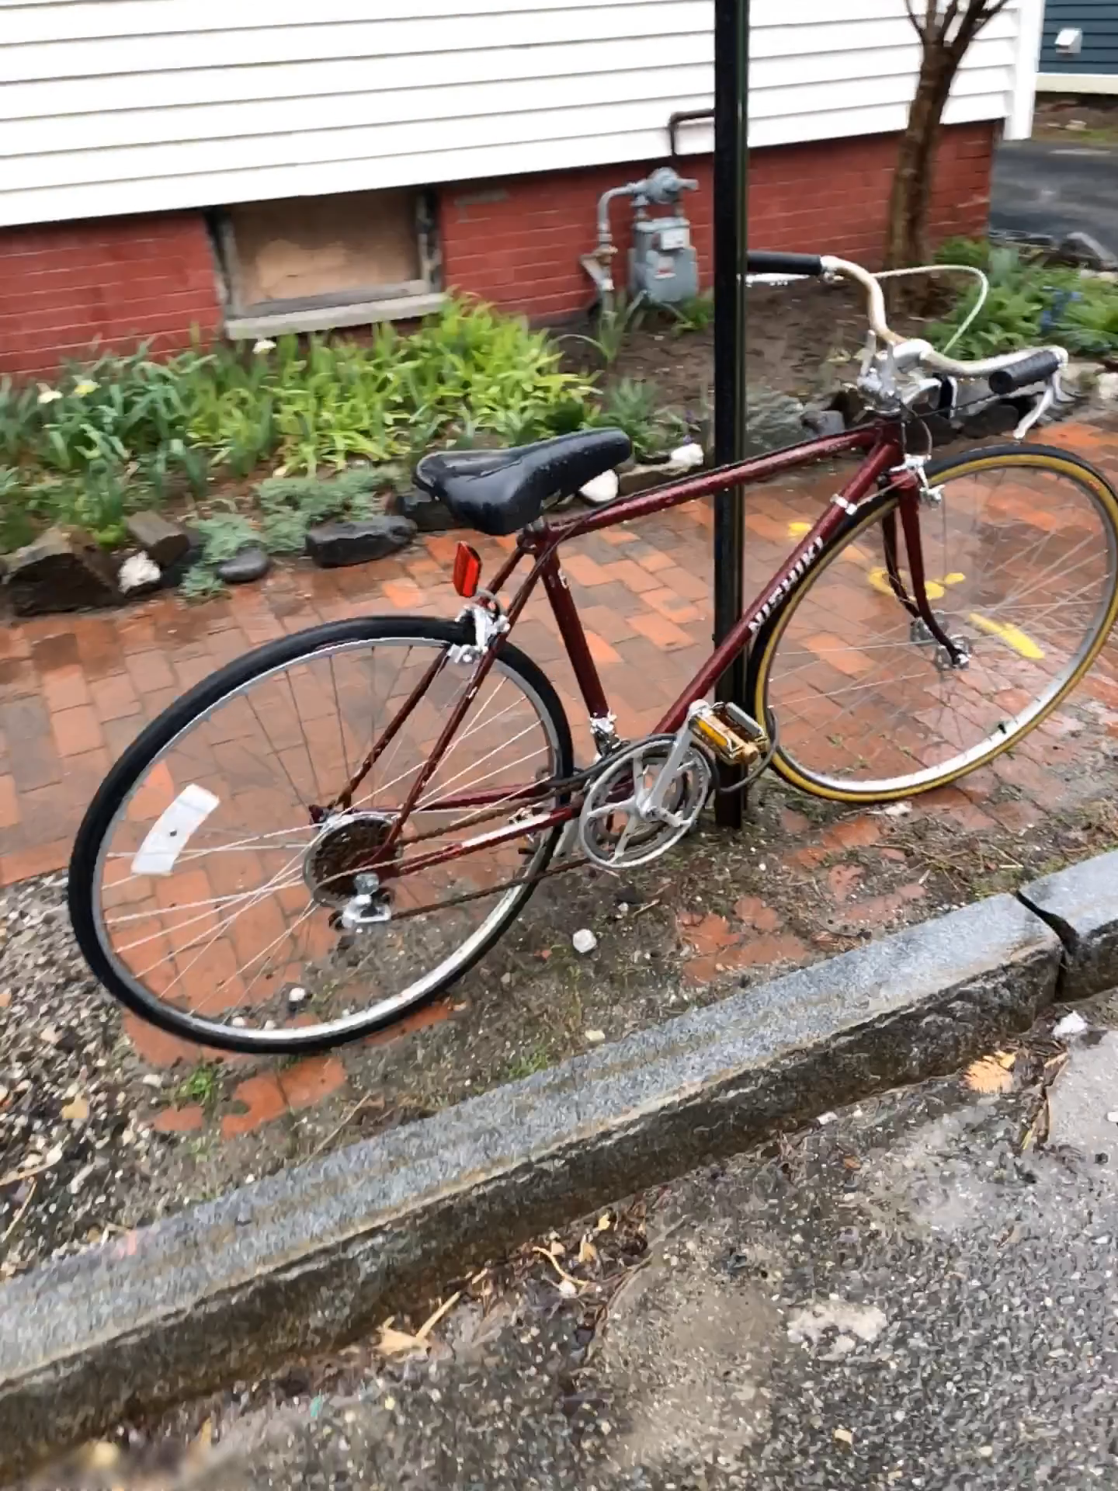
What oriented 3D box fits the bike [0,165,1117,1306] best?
[{"bbox_3d":[0.203,-0.123,1.586,1.608,0.907,0.501,-18,33,-20],"label":"bike"}]
